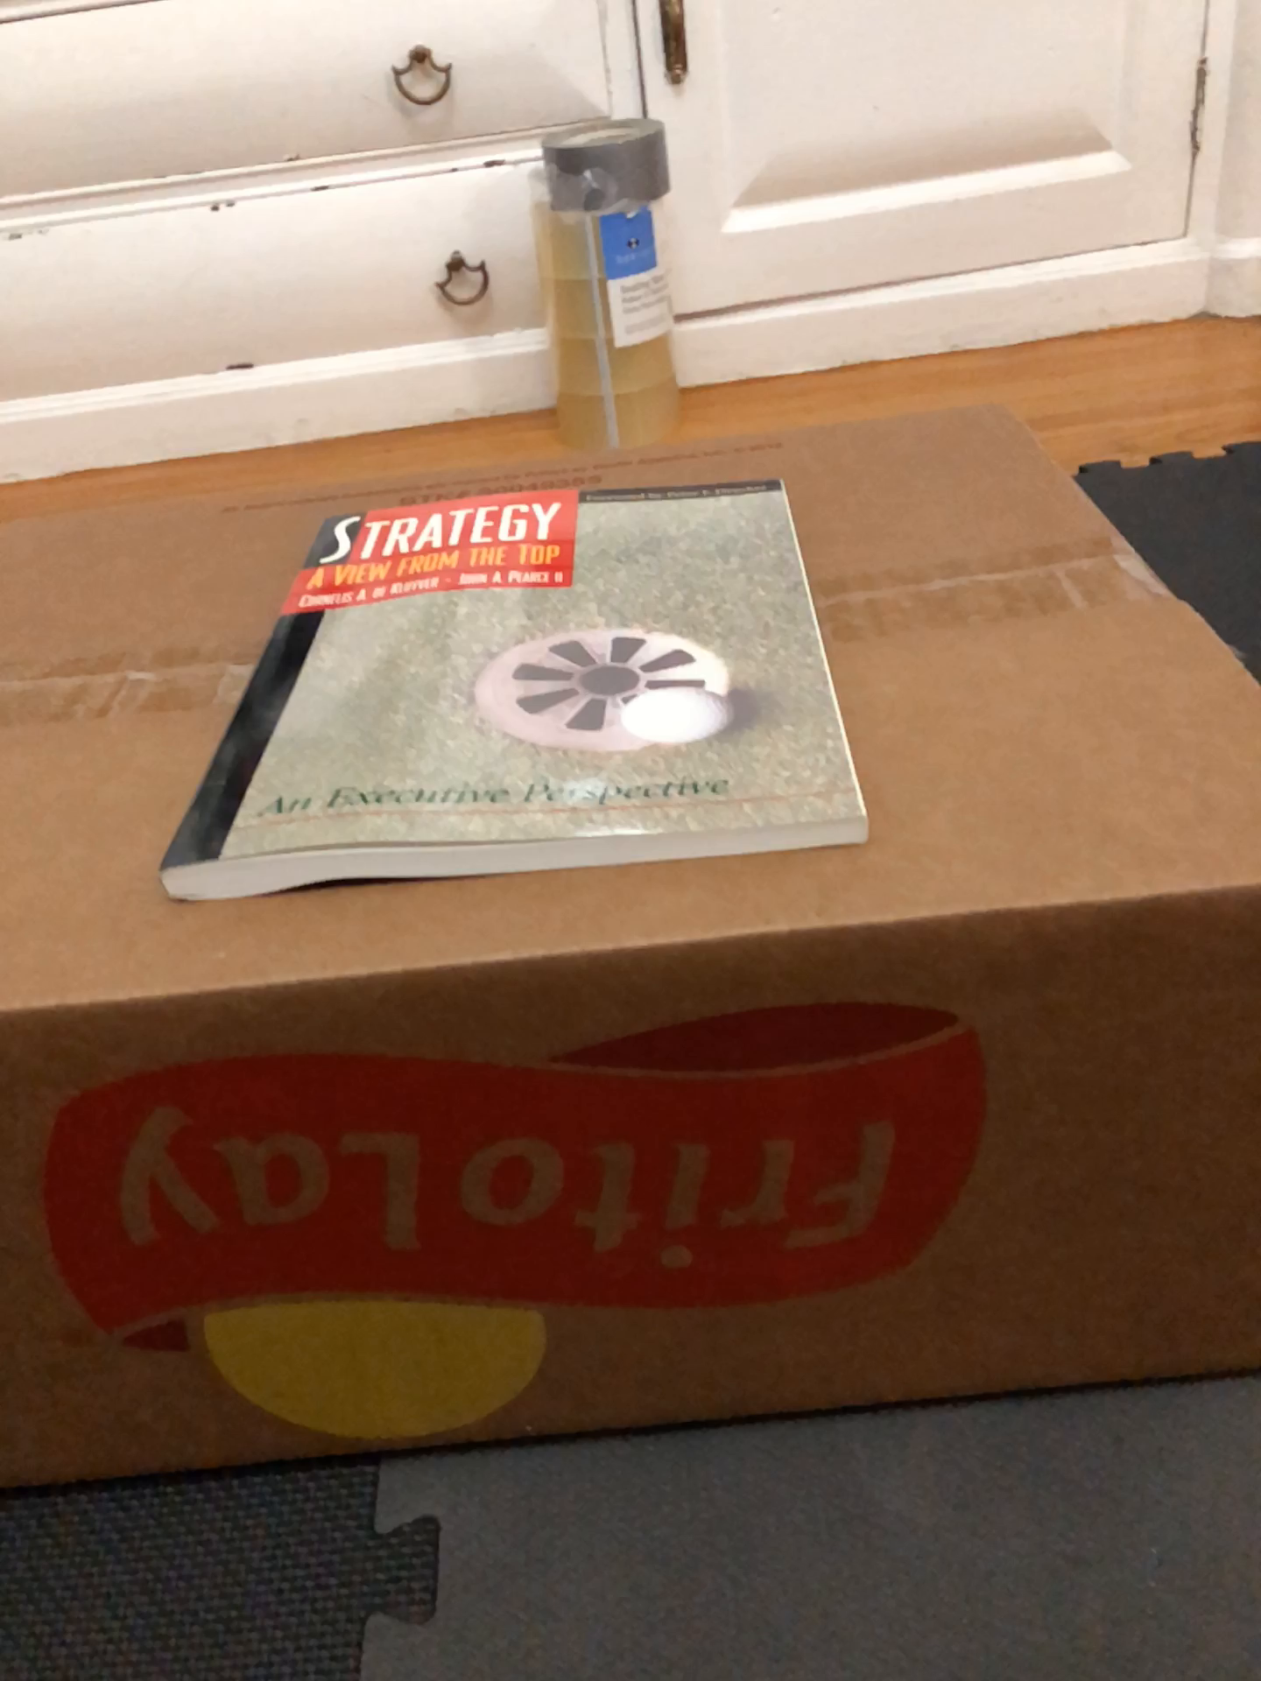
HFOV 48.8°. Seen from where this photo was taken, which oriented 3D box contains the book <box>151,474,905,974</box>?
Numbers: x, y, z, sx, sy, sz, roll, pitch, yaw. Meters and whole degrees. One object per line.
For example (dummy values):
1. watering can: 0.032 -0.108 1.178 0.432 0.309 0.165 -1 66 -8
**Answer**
1. book: -0.024 -0.052 0.432 0.180 0.020 0.241 -5 35 4
